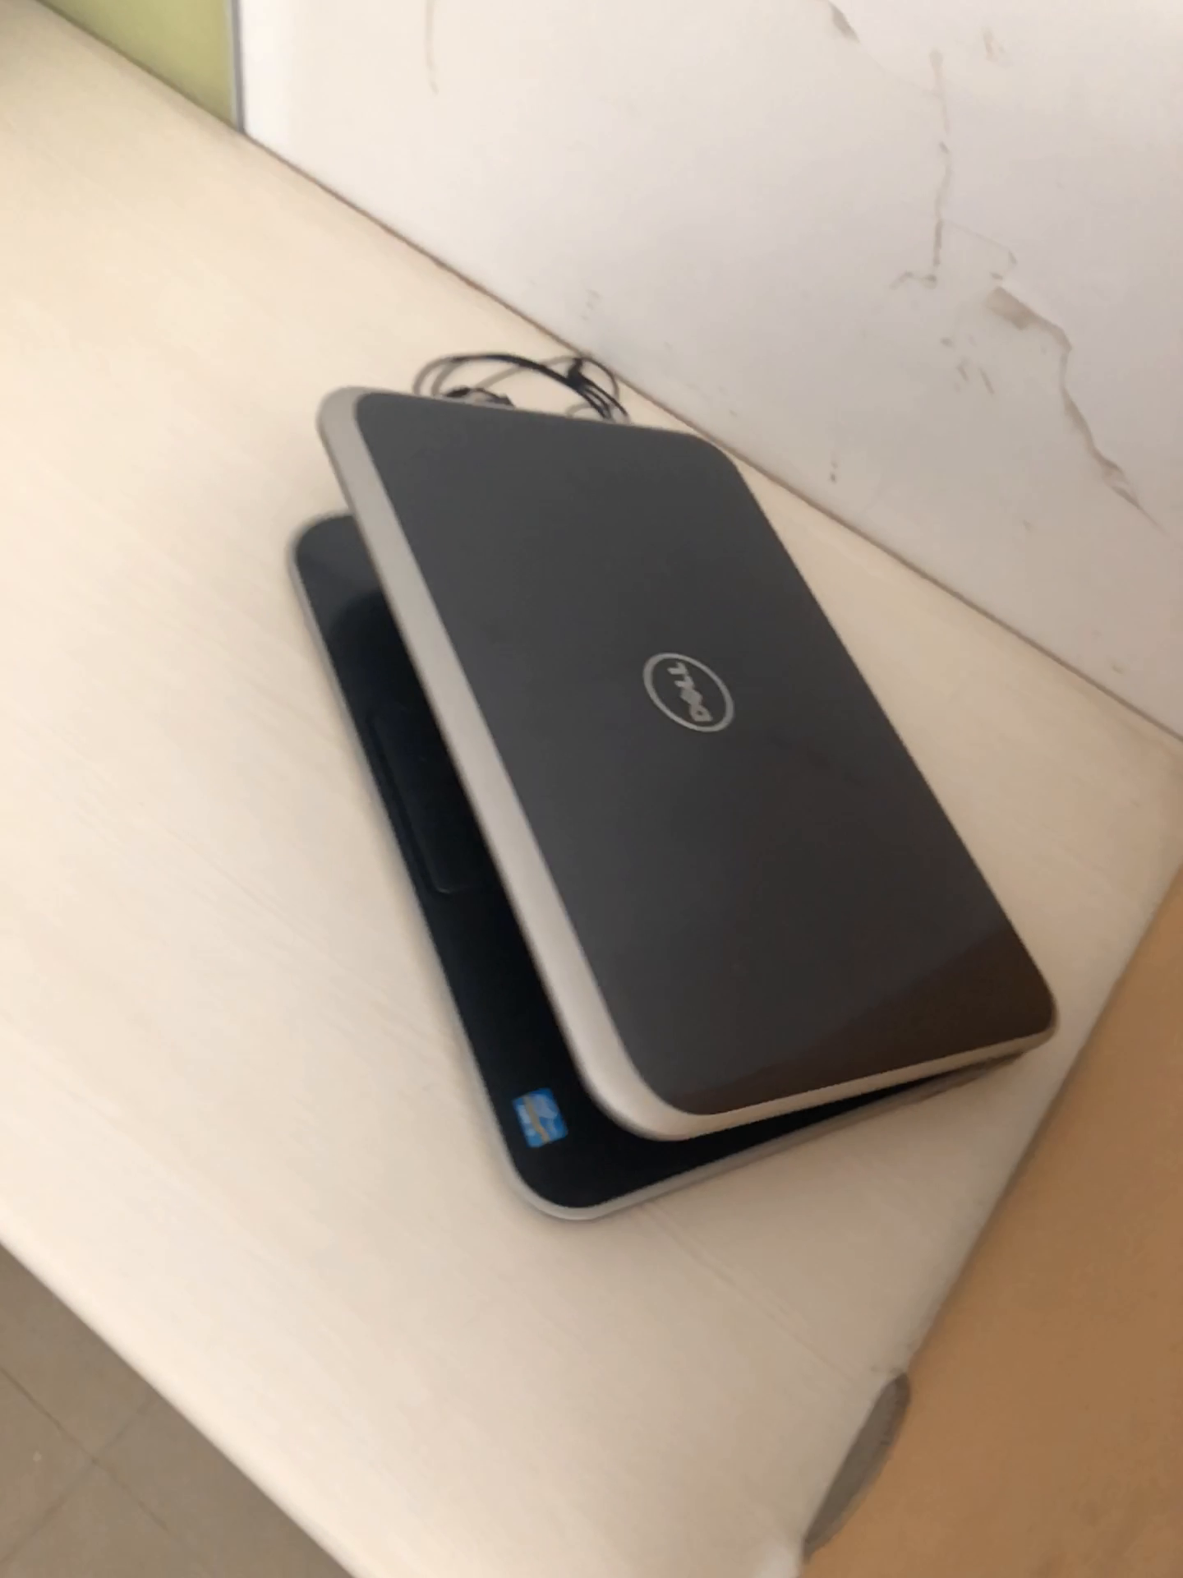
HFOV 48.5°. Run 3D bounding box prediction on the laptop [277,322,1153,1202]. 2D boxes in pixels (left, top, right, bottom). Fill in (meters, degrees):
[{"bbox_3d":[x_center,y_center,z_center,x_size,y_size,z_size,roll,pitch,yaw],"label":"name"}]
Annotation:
[{"bbox_3d":[0.029,-0.040,0.572,0.238,0.094,0.358,-13,61,-21],"label":"laptop"}]
